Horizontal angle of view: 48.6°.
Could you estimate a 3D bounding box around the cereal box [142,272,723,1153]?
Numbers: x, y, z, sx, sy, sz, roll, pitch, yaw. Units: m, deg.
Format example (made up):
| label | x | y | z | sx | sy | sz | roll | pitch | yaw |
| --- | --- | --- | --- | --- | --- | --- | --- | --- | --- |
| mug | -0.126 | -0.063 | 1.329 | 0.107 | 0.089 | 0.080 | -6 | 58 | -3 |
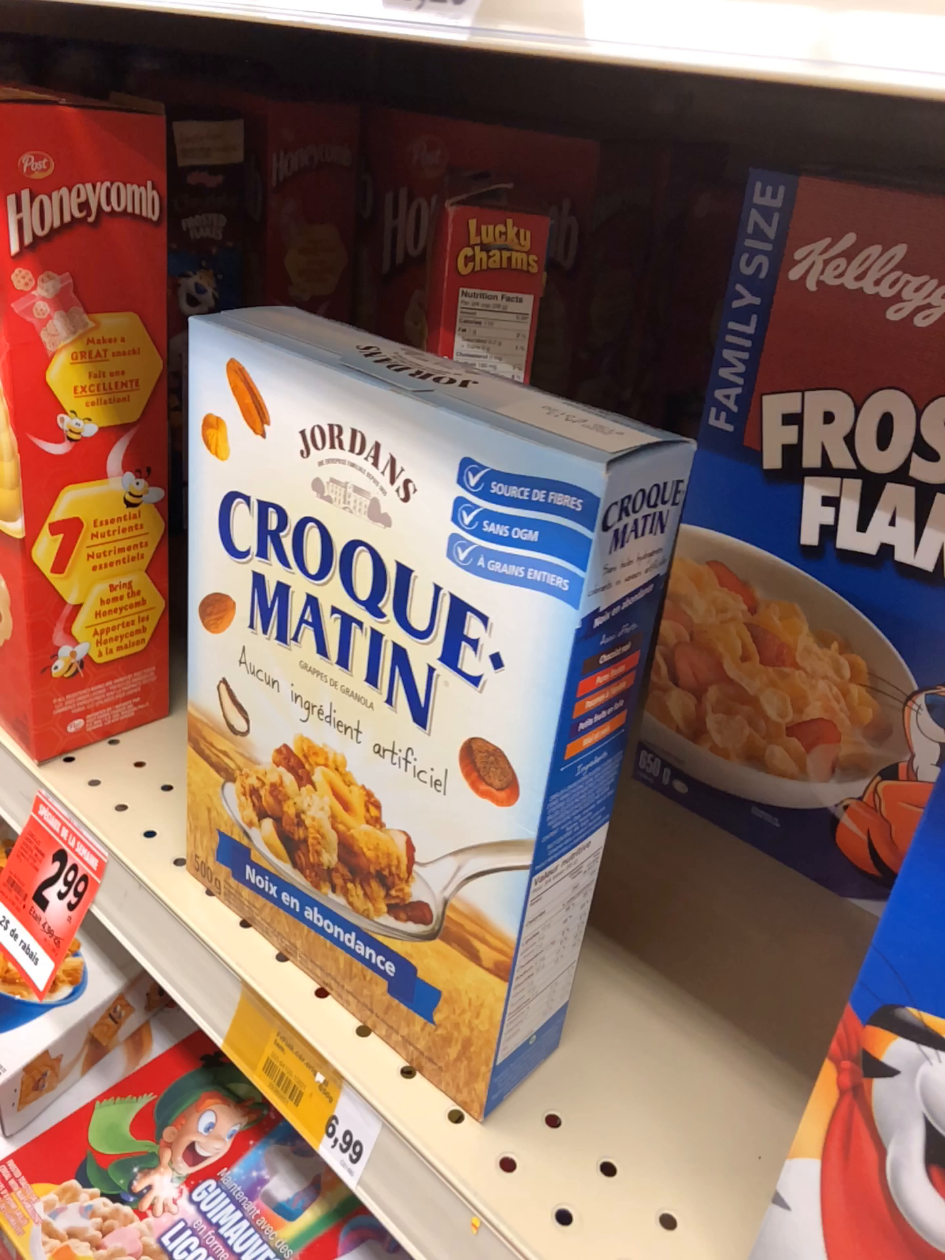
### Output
| label | x | y | z | sx | sy | sz | roll | pitch | yaw |
| --- | --- | --- | --- | --- | --- | --- | --- | --- | --- |
| cereal box | -0.037 | 0.024 | 0.381 | 0.201 | 0.258 | 0.050 | 27 | 33 | 33 |
